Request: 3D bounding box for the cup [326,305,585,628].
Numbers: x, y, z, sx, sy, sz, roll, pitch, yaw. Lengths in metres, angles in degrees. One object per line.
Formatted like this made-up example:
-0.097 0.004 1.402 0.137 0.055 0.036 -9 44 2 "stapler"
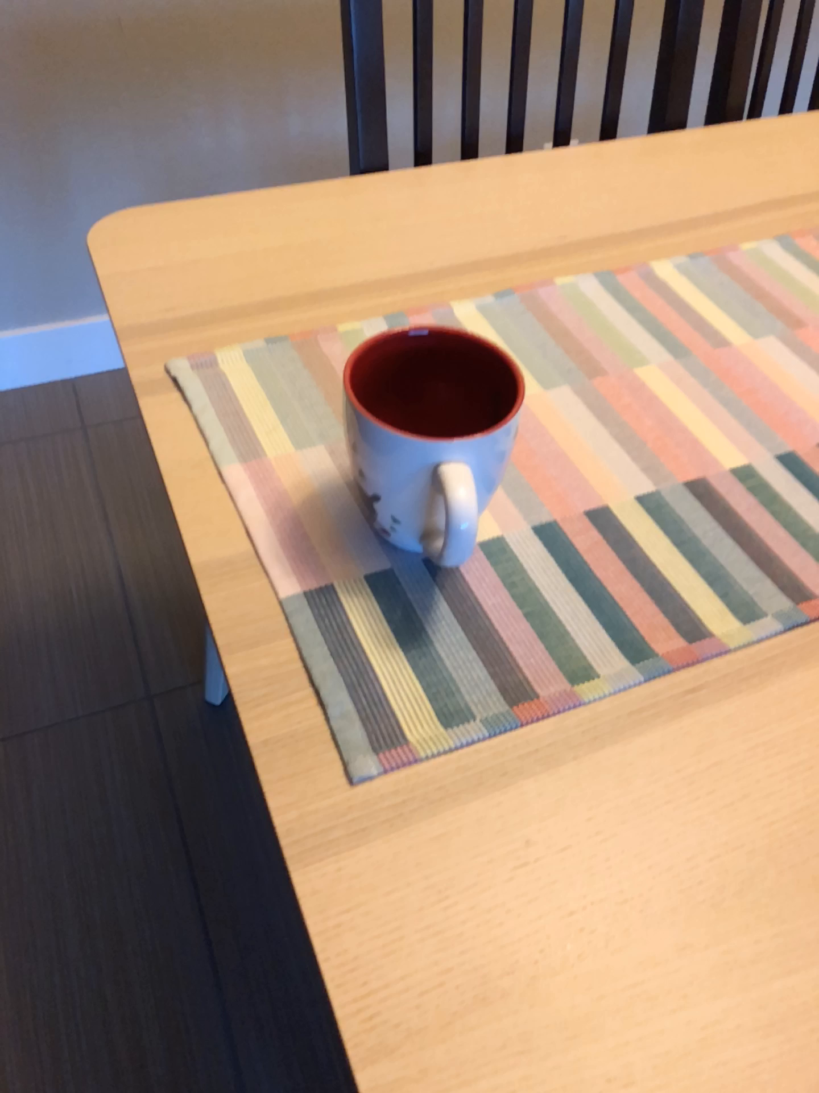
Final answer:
0.015 -0.046 0.470 0.100 0.090 0.141 -5 48 -9 "cup"
